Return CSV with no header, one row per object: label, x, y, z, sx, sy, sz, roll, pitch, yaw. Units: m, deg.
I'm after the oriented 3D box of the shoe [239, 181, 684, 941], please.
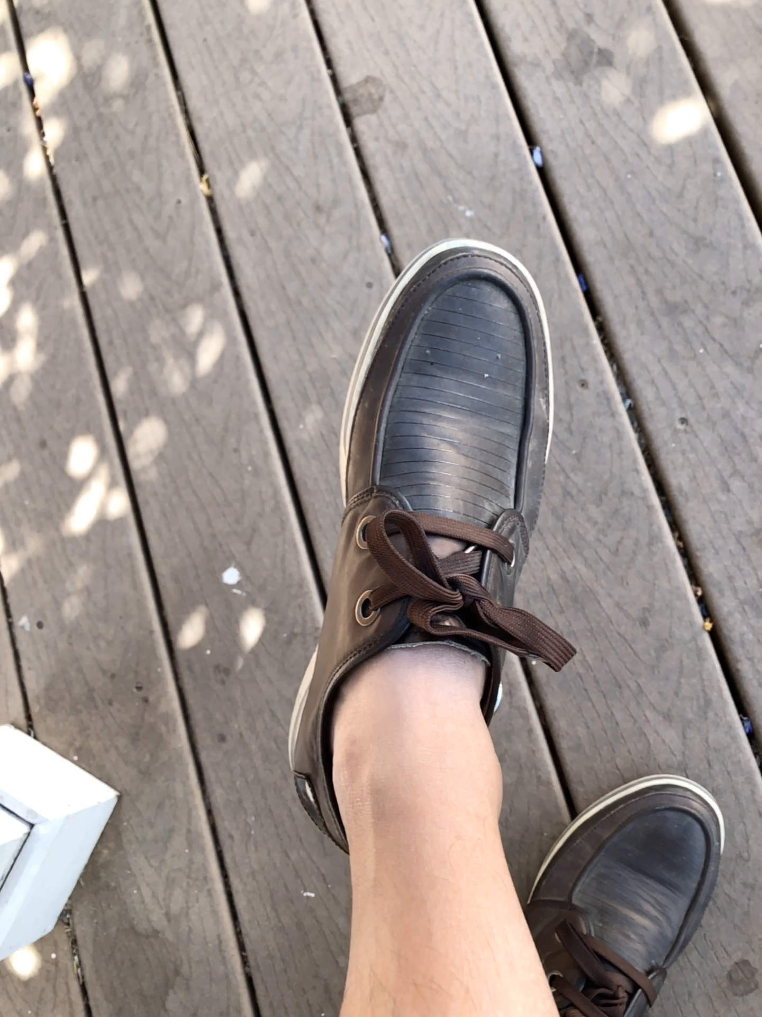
shoe,0.025,0.025,0.394,0.118,0.104,0.295,12,96,-7
